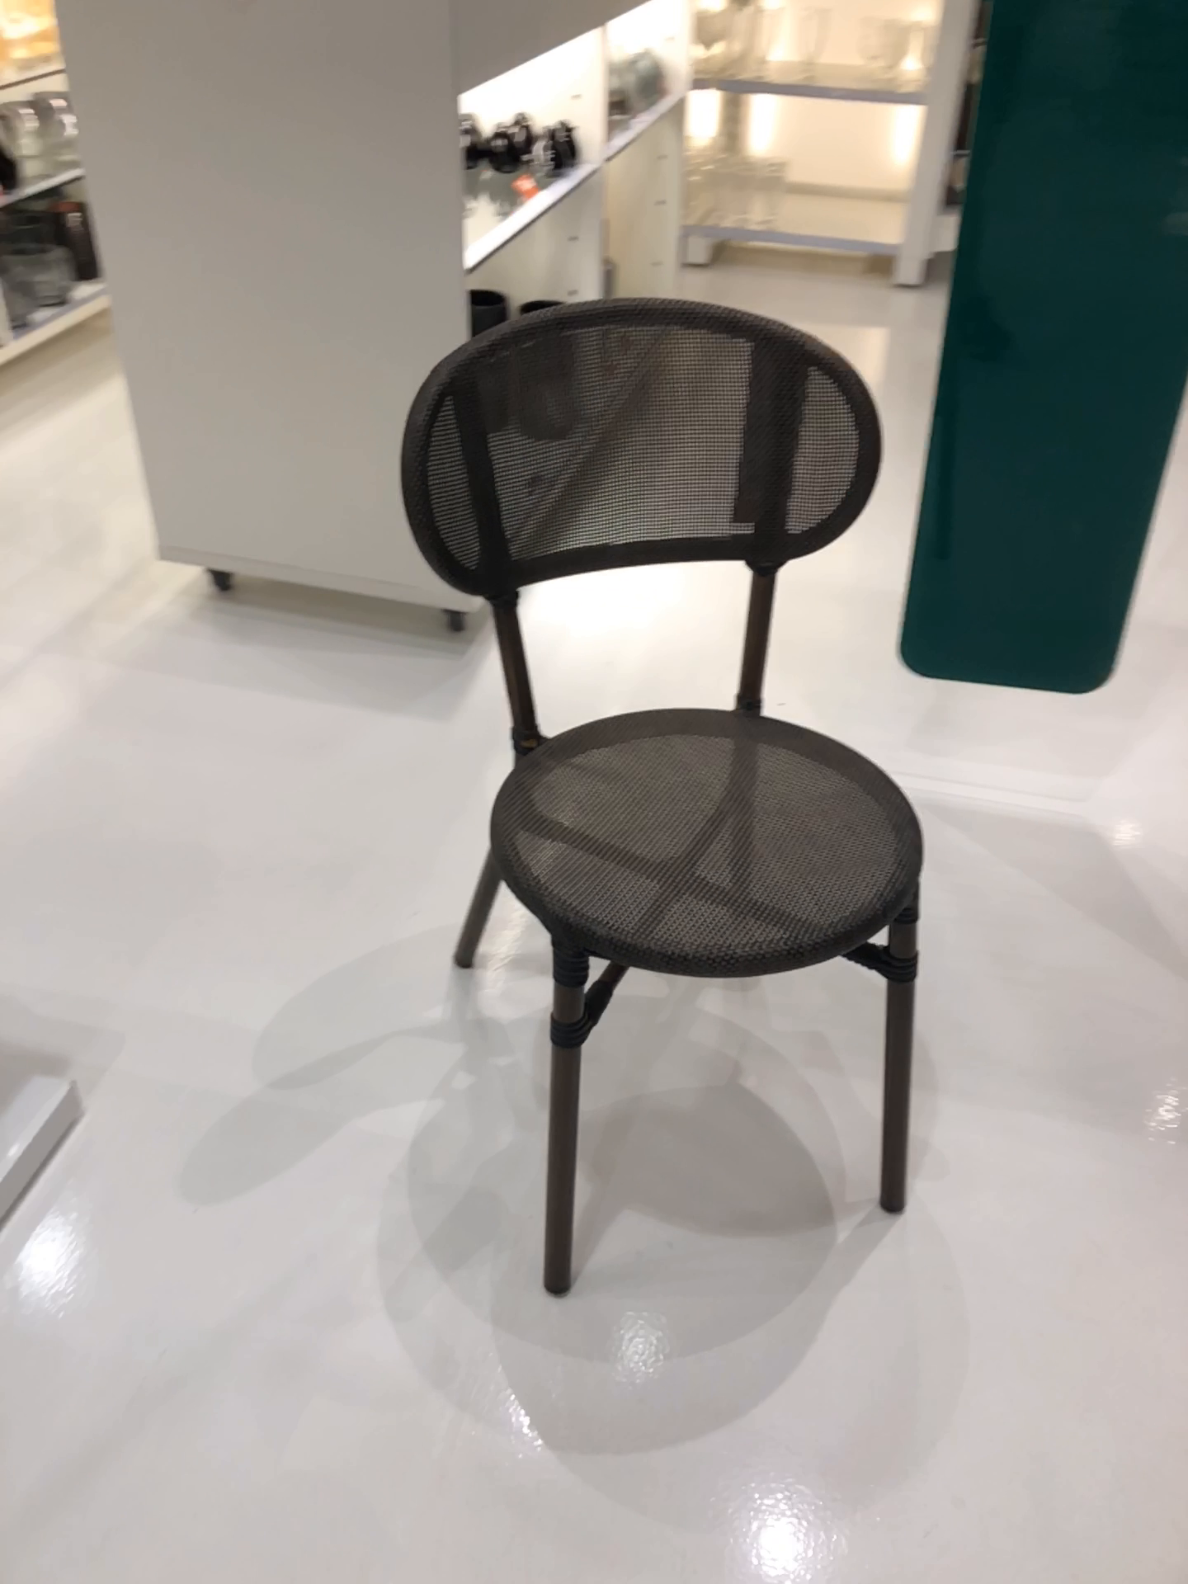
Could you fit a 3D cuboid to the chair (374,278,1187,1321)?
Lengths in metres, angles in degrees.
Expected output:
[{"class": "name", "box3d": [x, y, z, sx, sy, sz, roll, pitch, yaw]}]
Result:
[{"class": "chair", "box3d": [0.094, -0.010, 1.259, 0.470, 0.764, 0.554, -9, 38, -14]}]
